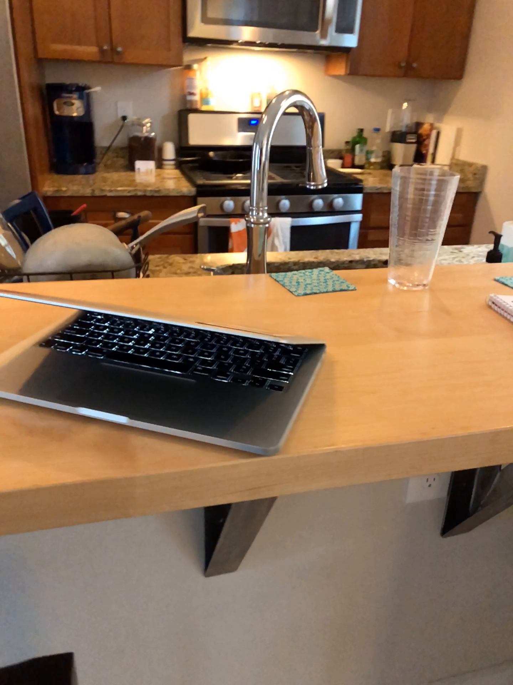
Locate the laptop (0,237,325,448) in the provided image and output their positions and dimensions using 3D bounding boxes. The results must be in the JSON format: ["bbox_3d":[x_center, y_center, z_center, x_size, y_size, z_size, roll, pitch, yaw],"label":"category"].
[{"bbox_3d":[-0.103,-0.021,0.561,0.299,0.084,0.211,10,26,15],"label":"laptop"}]
